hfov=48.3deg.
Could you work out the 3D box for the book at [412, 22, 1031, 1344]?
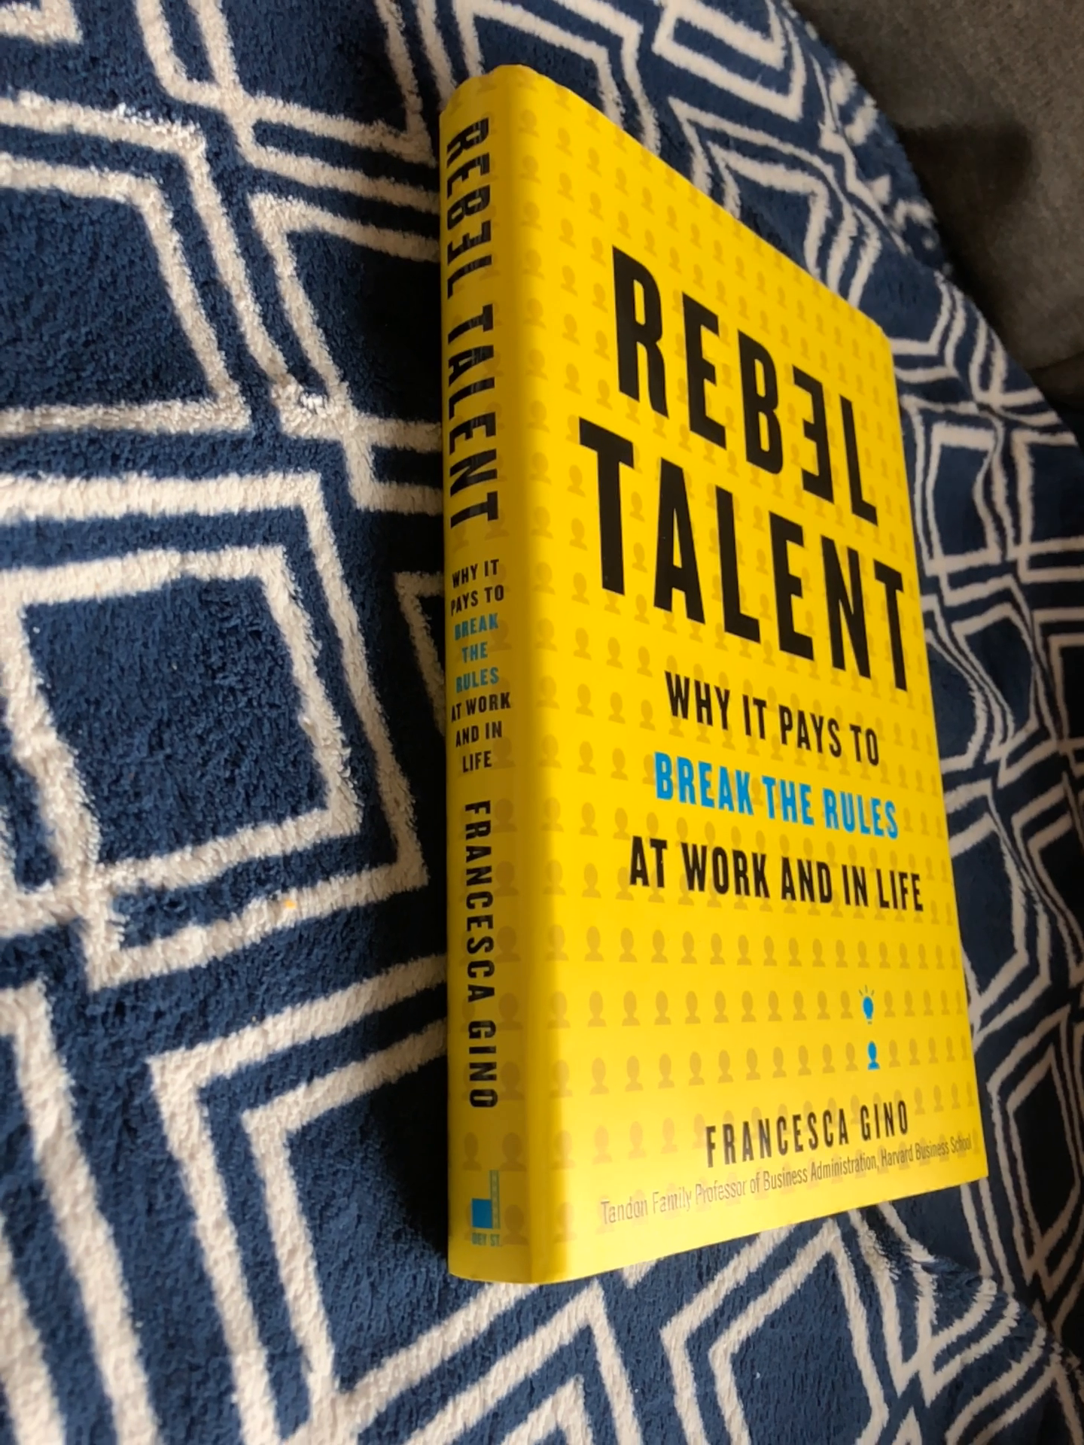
[{"bbox_3d":[0.046,-0.007,0.278,0.168,0.031,0.237,13,69,-46],"label":"book"}]
